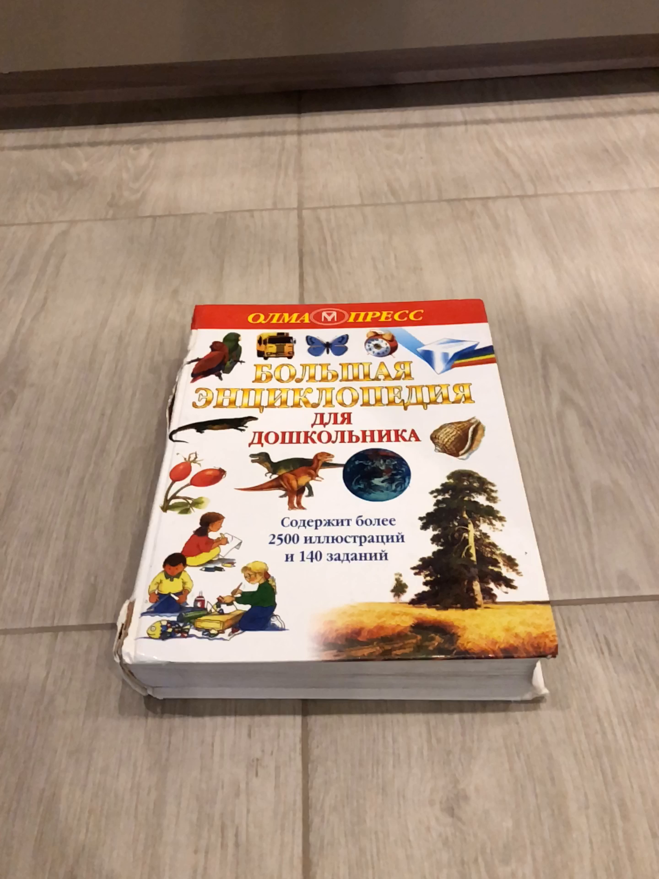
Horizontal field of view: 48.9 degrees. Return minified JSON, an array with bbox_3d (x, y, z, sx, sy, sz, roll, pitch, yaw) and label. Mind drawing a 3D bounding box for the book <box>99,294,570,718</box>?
[{"bbox_3d":[0.004,0.020,0.449,0.216,0.060,0.282,0,47,1],"label":"book"}]
